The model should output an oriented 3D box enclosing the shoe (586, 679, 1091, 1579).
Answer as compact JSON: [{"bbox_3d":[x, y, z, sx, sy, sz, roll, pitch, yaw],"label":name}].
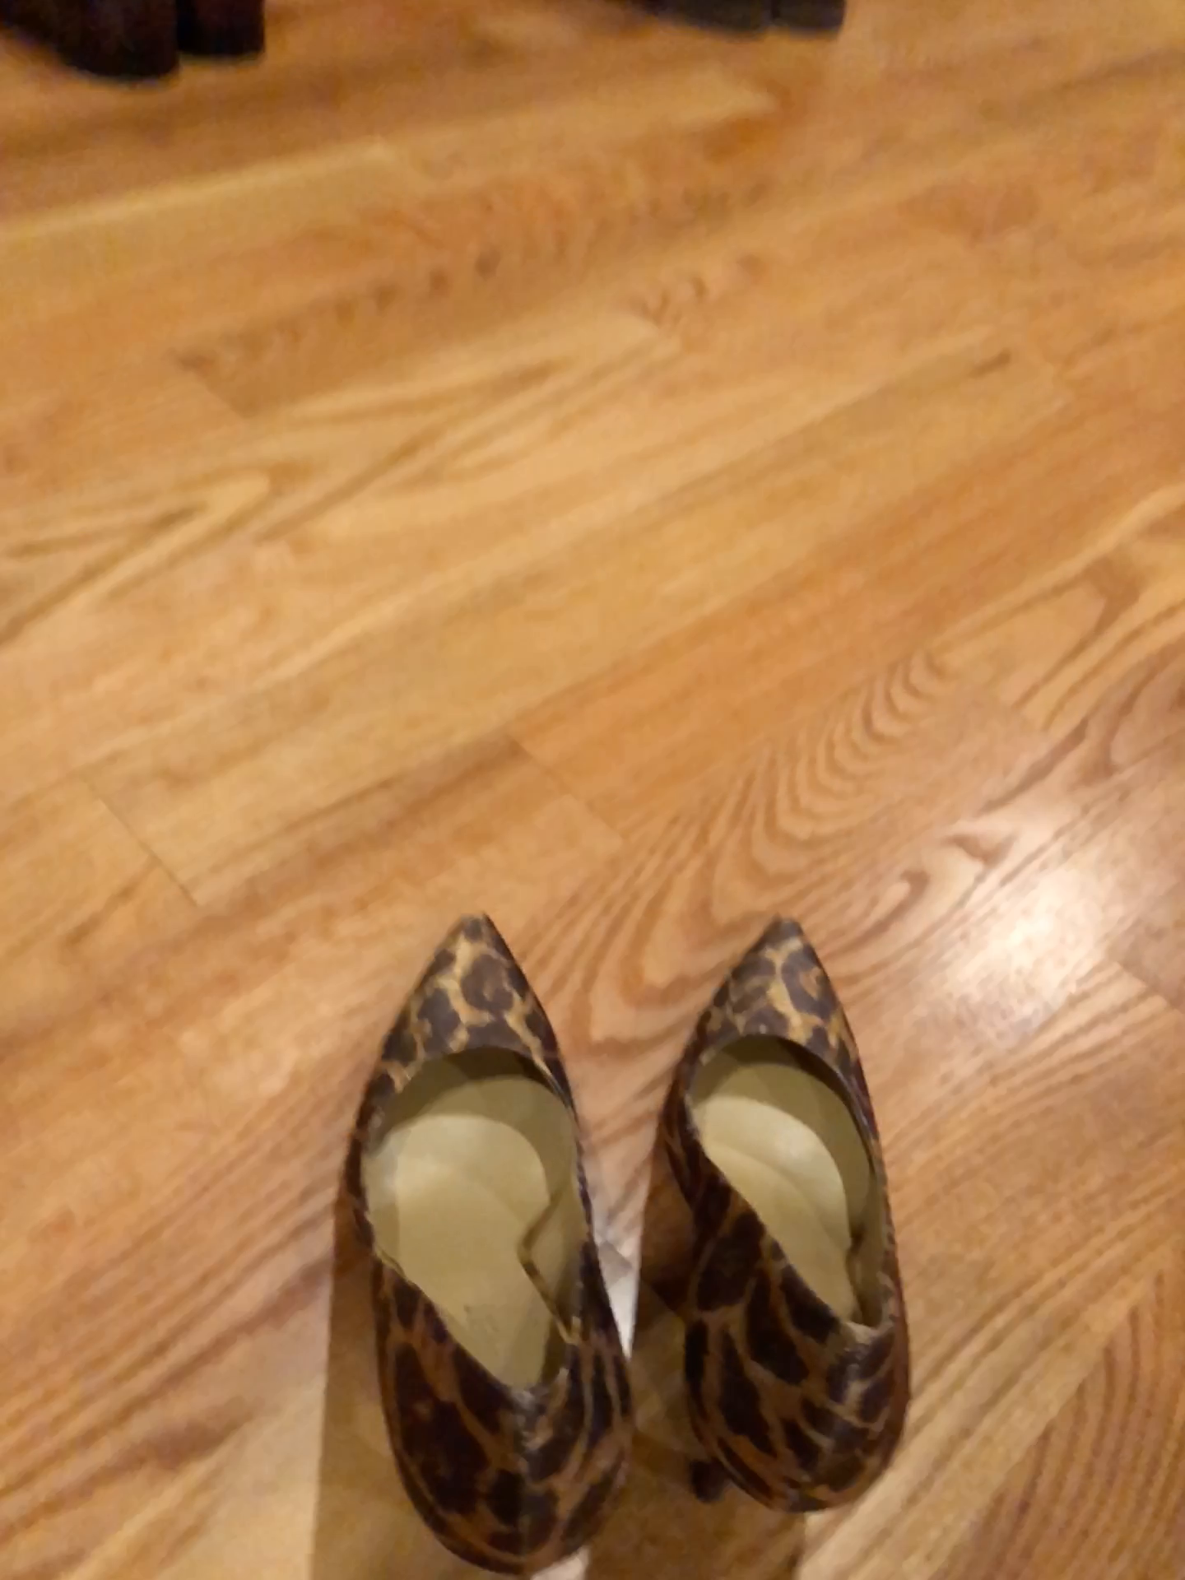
[{"bbox_3d":[0.066,0.100,0.393,0.083,0.144,0.220,12,47,0],"label":"shoe"}]

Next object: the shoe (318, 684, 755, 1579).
[{"bbox_3d":[-0.029,0.100,0.374,0.083,0.144,0.220,2,48,-9],"label":"shoe"}]
